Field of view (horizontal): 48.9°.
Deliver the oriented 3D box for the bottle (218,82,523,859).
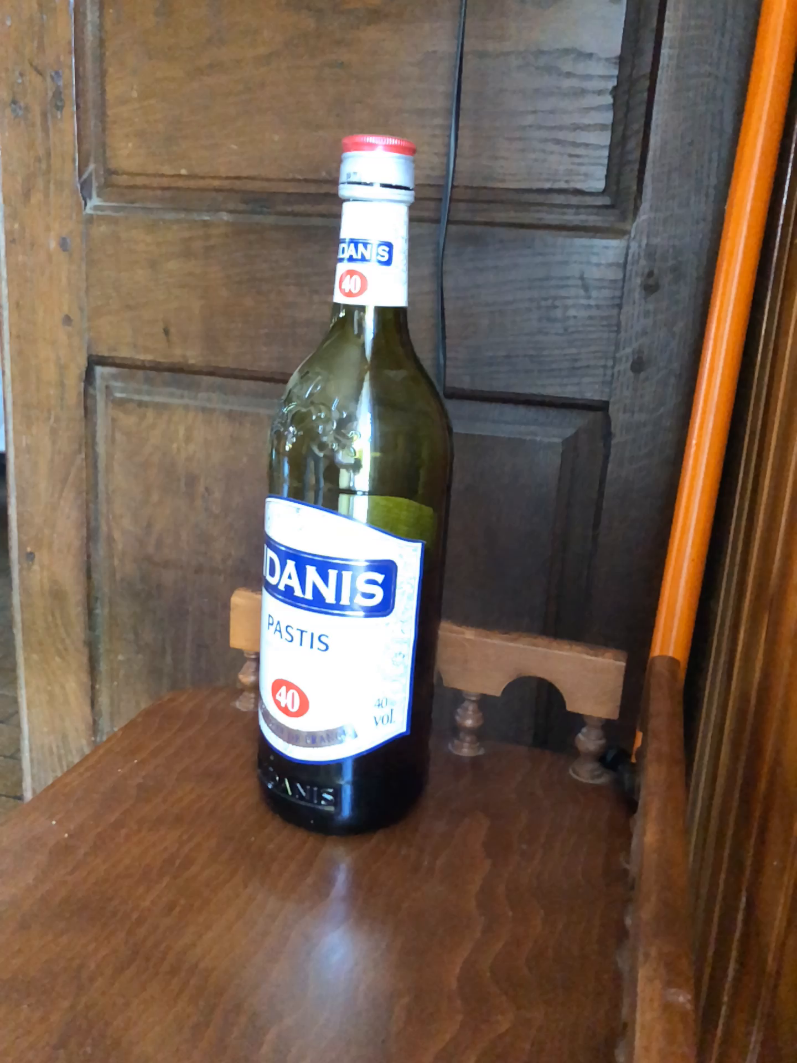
[{"bbox_3d":[-0.018,-0.023,0.388,0.090,0.299,0.080,13,18,33],"label":"bottle"}]
